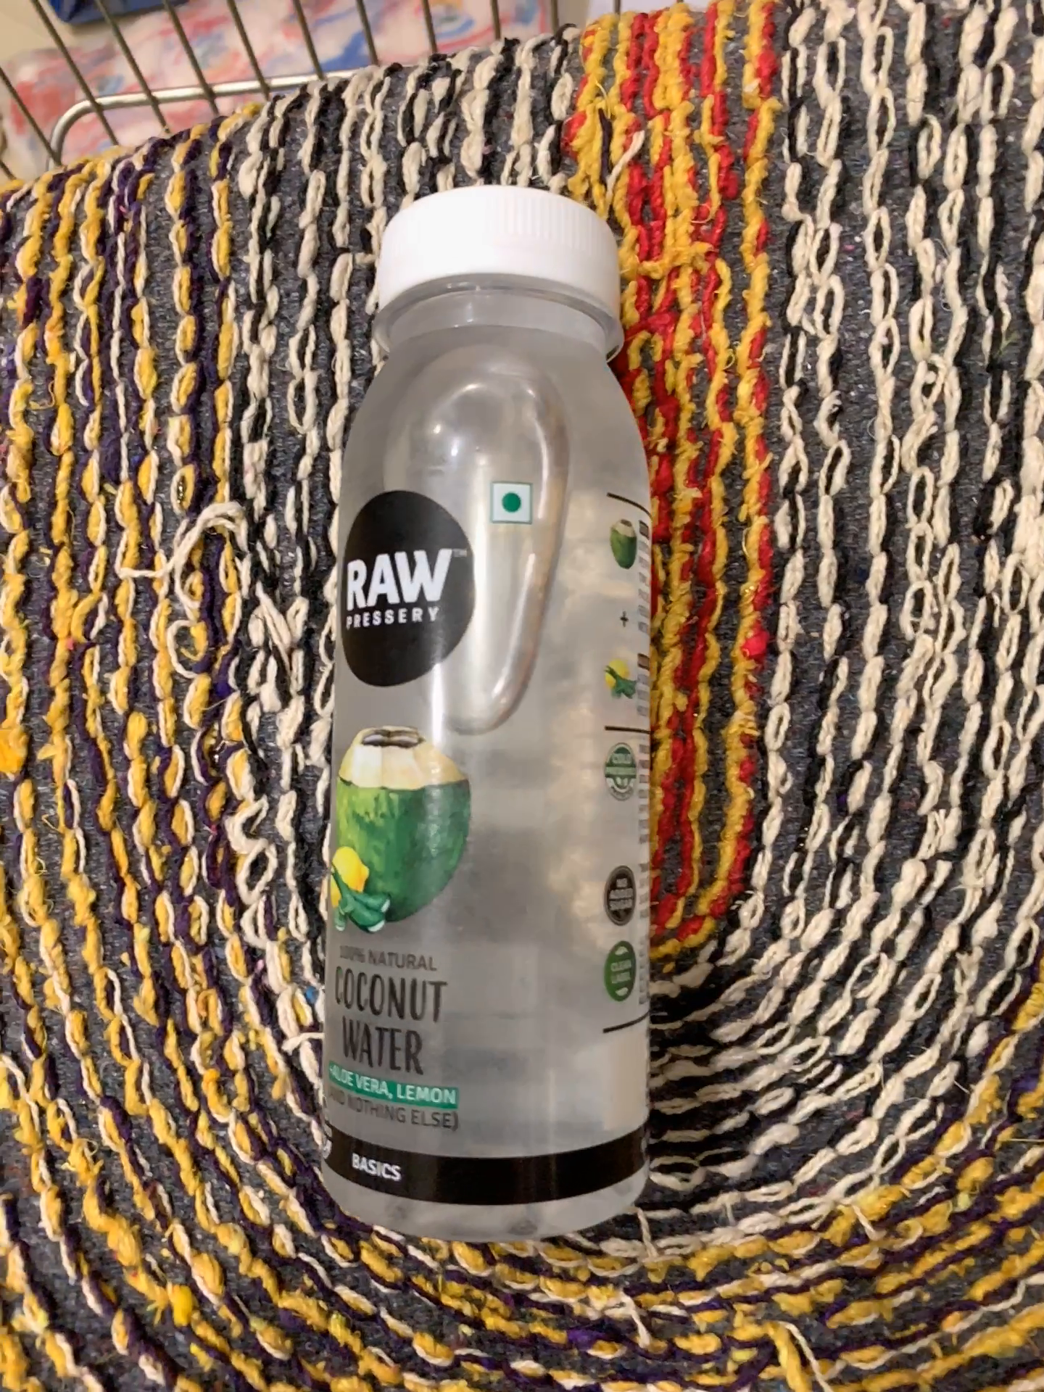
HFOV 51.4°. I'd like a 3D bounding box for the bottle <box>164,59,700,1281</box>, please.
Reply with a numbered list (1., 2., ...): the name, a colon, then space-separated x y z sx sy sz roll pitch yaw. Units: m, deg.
1. bottle: -0.010 -0.004 0.168 0.060 0.050 0.150 -2 83 29
